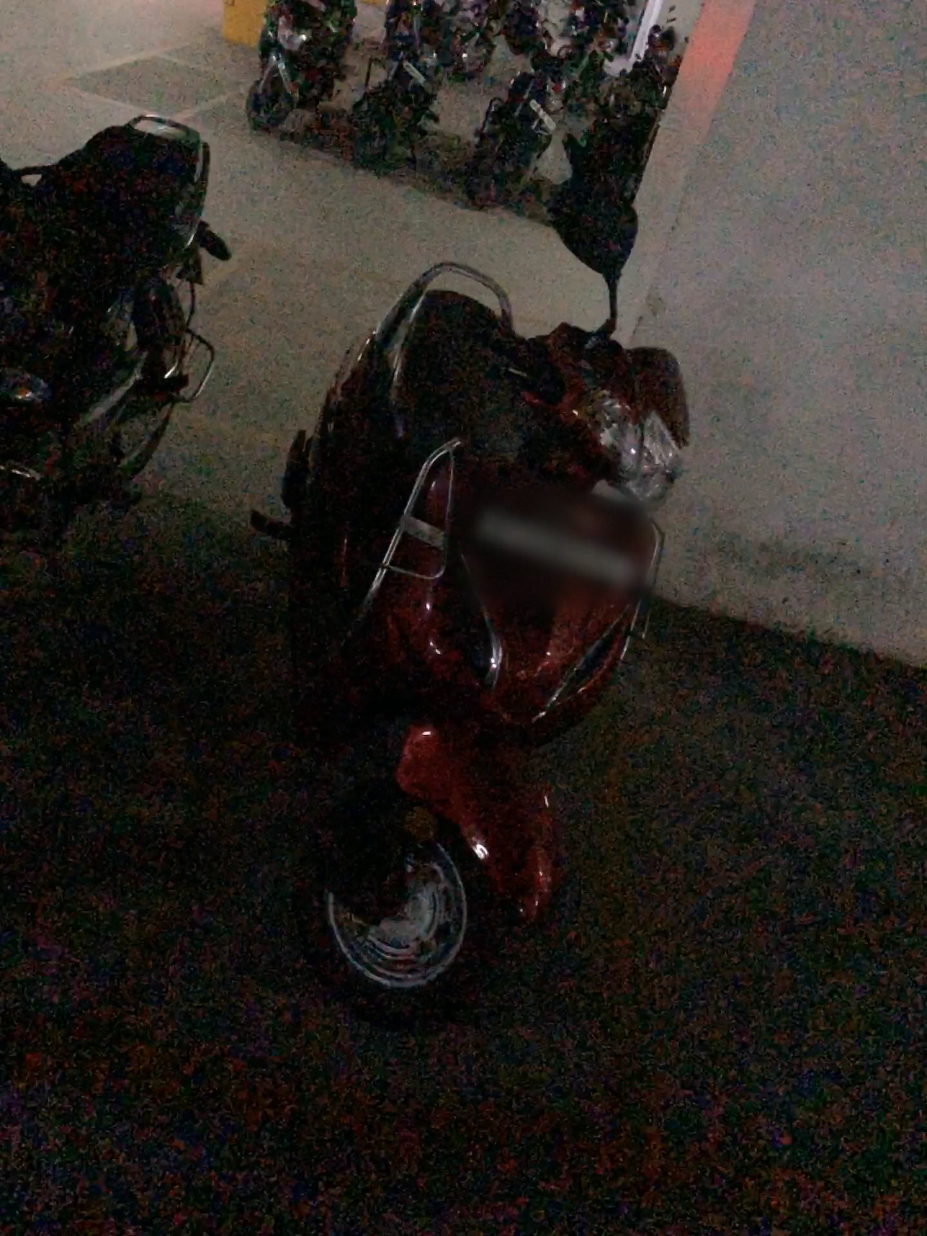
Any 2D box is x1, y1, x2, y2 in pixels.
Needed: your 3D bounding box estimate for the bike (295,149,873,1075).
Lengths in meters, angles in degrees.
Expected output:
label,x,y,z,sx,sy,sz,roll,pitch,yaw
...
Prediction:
label,x,y,z,sx,sy,sz,roll,pitch,yaw
bike,0.064,-0.069,1.916,0.487,0.909,1.395,1,47,-23
